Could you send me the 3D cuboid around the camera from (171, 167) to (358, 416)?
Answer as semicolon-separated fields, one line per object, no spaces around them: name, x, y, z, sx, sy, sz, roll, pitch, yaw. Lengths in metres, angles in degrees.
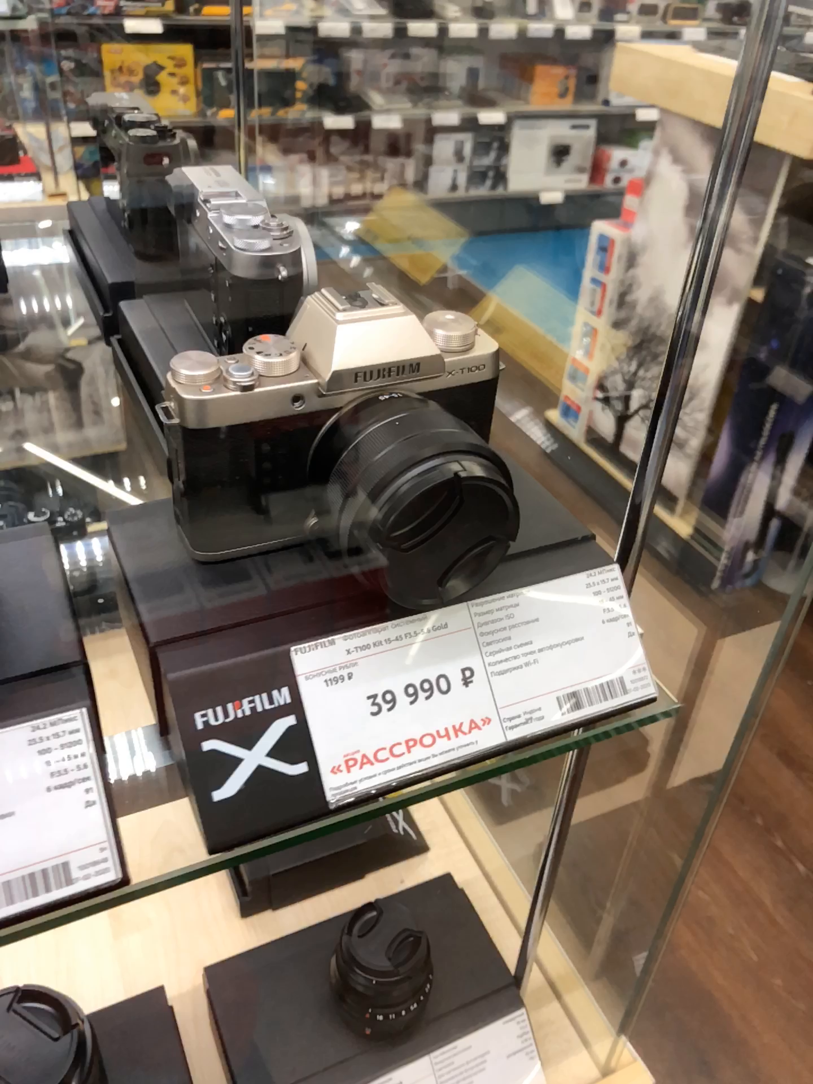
camera;-0.074;-0.131;0.454;0.054;0.076;0.132;-11;38;-21

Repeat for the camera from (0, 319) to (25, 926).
camera;-0.191;0.008;0.241;0.141;0.086;0.102;-13;39;-23

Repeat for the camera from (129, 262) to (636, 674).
camera;-0.013;-0.035;0.311;0.132;0.080;0.100;-14;40;-24
